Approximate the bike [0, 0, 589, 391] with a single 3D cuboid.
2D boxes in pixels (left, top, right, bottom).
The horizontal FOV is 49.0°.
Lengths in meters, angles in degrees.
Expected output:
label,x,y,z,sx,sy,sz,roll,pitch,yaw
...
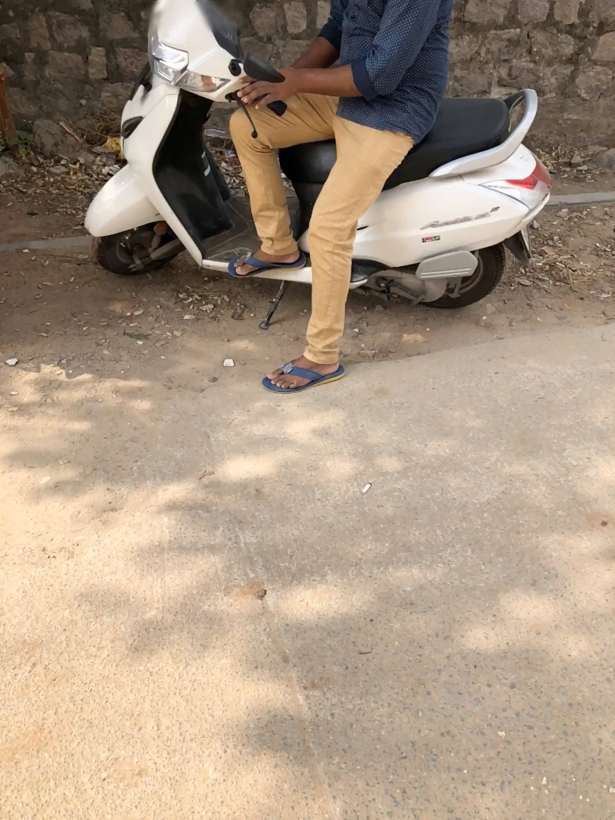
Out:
label,x,y,z,sx,sy,sz,roll,pitch,yaw
bike,-0.080,-0.788,2.241,1.587,1.199,0.626,3,37,4
